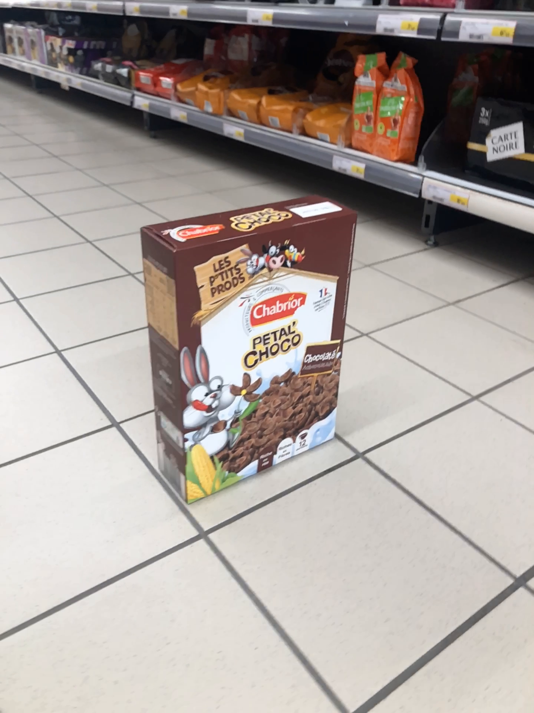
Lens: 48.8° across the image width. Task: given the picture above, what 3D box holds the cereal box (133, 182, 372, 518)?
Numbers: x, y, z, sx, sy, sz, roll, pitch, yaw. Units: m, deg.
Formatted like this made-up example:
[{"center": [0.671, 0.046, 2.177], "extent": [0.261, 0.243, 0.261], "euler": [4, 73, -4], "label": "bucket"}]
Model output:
[{"center": [-0.010, -0.009, 0.571], "extent": [0.201, 0.278, 0.070], "euler": [-19, 35, -32], "label": "cereal box"}]
